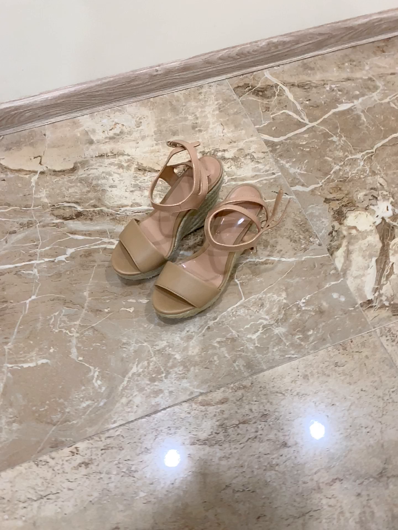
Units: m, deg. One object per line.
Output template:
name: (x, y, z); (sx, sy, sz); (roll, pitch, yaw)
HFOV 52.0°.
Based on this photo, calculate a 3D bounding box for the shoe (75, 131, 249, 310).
shoe: (-0.044, -0.059, 0.582); (0.210, 0.150, 0.090); (-38, 69, -18)

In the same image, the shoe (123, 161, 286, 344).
shoe: (0.011, -0.016, 0.567); (0.090, 0.130, 0.210); (36, 68, 17)
